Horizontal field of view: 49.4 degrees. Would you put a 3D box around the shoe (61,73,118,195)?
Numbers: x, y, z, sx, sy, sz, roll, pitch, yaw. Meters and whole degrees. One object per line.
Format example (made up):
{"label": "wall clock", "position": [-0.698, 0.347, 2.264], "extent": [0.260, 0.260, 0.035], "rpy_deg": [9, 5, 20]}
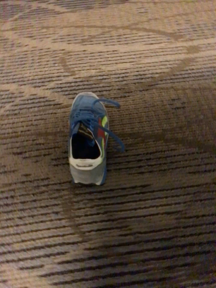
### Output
{"label": "shoe", "position": [-0.039, -0.030, 0.528], "extent": [0.101, 0.095, 0.261], "rpy_deg": [-4, 57, 0]}
